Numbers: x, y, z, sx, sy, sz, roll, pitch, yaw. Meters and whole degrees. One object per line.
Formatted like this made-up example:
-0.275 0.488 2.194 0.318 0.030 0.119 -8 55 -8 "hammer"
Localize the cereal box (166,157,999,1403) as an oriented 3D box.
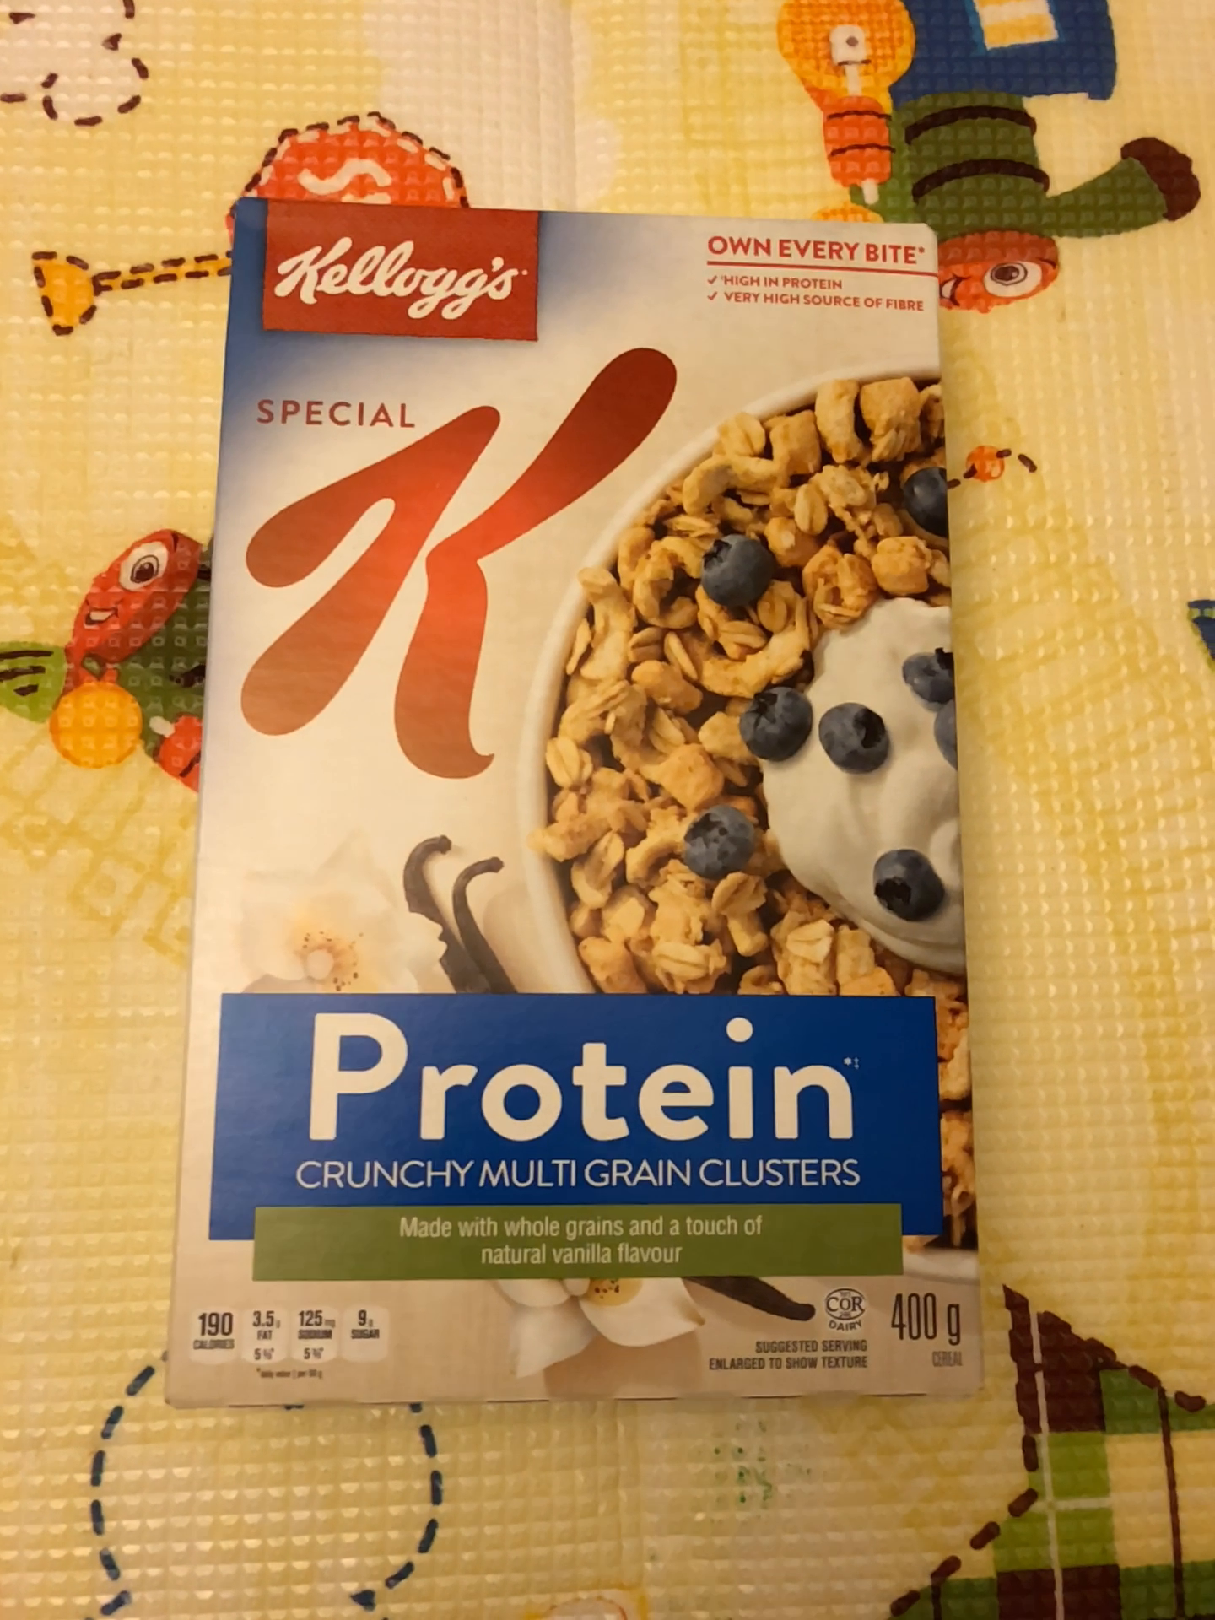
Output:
-0.003 -0.007 0.303 0.160 0.060 0.250 2 82 -6 "cereal box"
